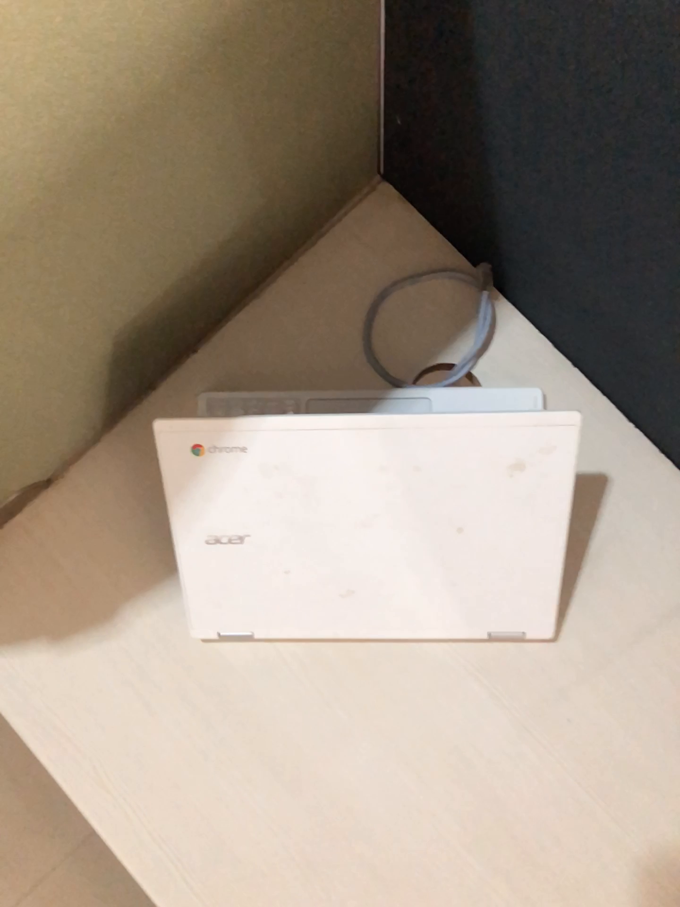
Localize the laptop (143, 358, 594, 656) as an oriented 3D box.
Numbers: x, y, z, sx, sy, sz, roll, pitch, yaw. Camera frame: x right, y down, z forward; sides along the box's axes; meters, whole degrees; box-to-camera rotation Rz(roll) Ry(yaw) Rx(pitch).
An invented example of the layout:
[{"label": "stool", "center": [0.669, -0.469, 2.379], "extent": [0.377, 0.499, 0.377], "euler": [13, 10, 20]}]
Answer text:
[{"label": "laptop", "center": [0.018, 0.042, 0.538], "extent": [0.285, 0.115, 0.187], "euler": [-1, 84, 4]}]
